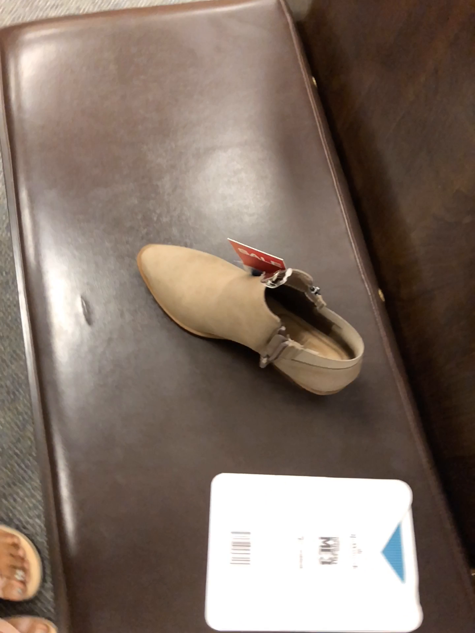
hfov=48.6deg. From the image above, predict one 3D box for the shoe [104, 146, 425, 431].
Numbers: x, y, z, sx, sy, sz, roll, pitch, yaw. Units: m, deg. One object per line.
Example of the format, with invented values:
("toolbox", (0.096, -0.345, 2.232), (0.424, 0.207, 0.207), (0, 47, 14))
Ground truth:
("shoe", (0.015, -0.016, 0.497), (0.260, 0.133, 0.097), (36, 71, 4))
